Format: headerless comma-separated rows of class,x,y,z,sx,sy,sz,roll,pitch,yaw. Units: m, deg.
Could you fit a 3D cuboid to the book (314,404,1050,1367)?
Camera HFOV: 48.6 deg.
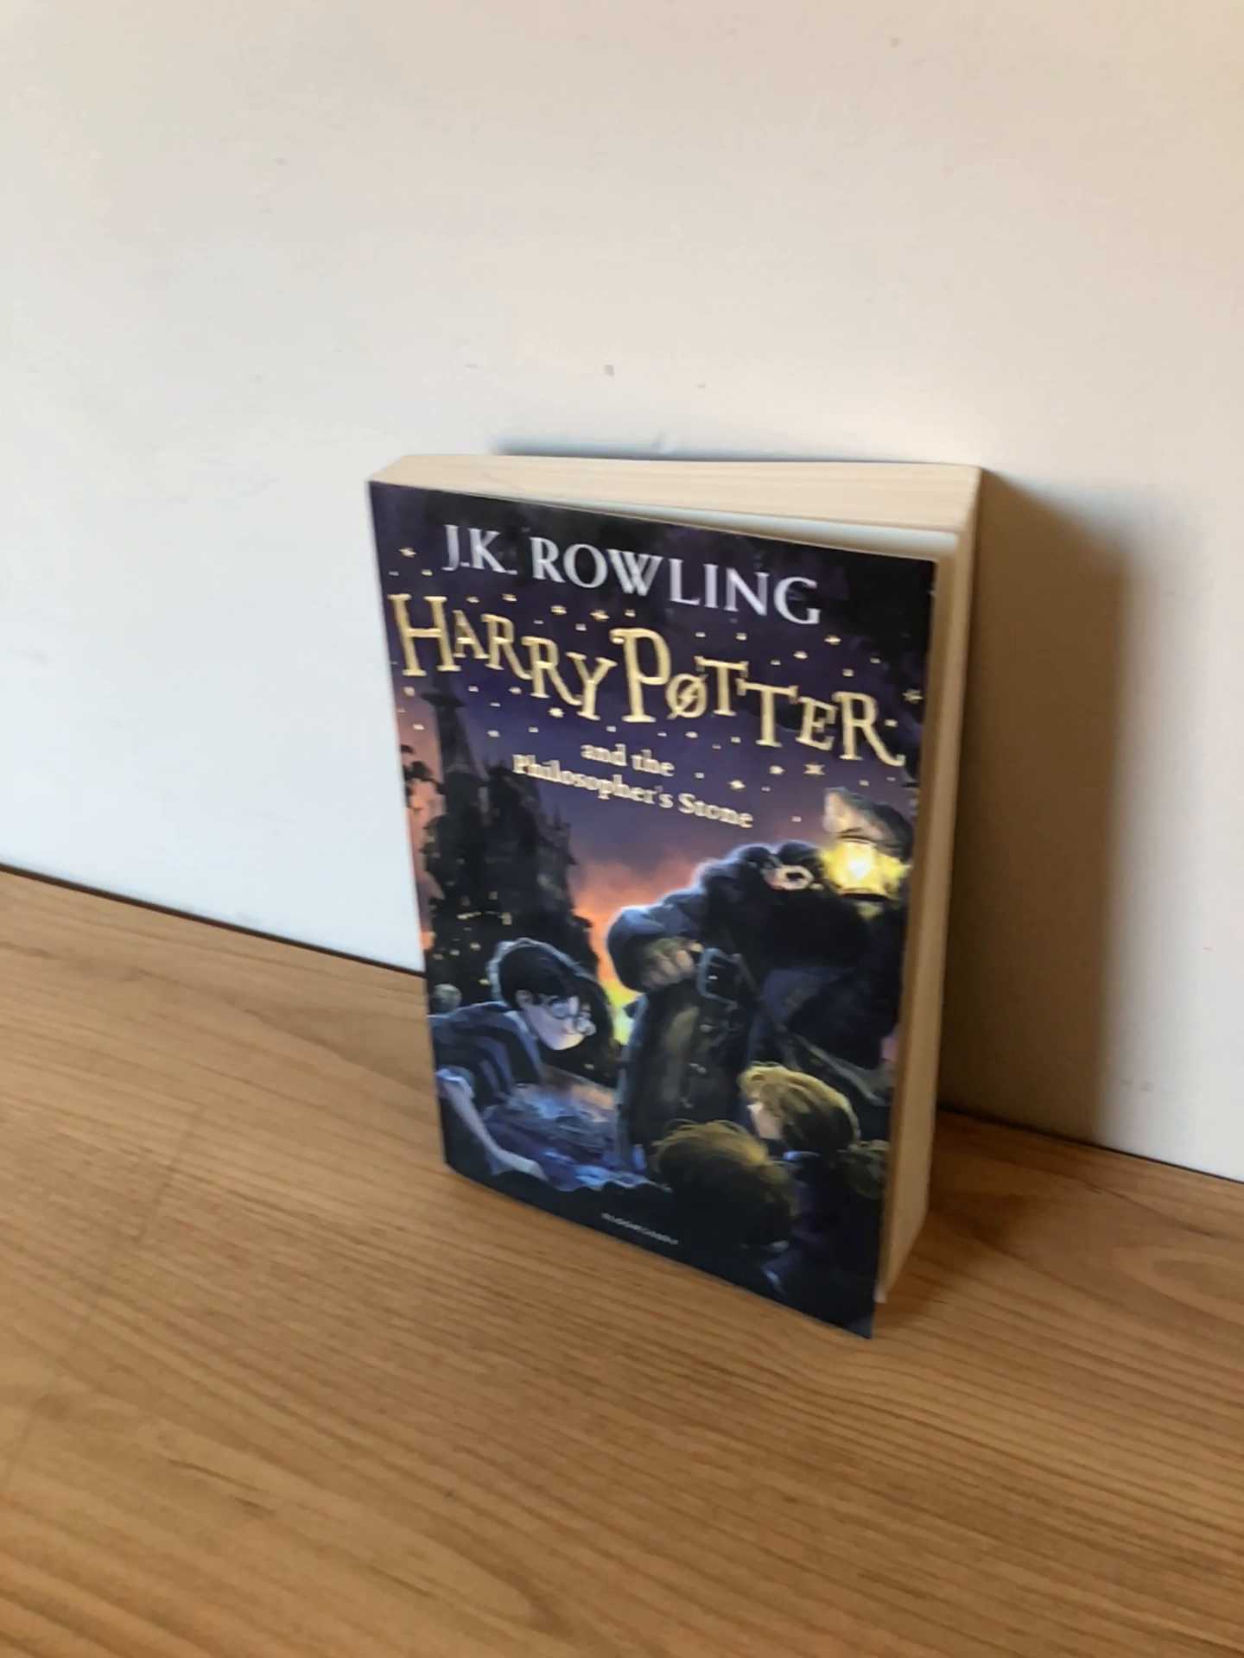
book,0.012,0.010,0.328,0.135,0.192,0.068,14,31,25
